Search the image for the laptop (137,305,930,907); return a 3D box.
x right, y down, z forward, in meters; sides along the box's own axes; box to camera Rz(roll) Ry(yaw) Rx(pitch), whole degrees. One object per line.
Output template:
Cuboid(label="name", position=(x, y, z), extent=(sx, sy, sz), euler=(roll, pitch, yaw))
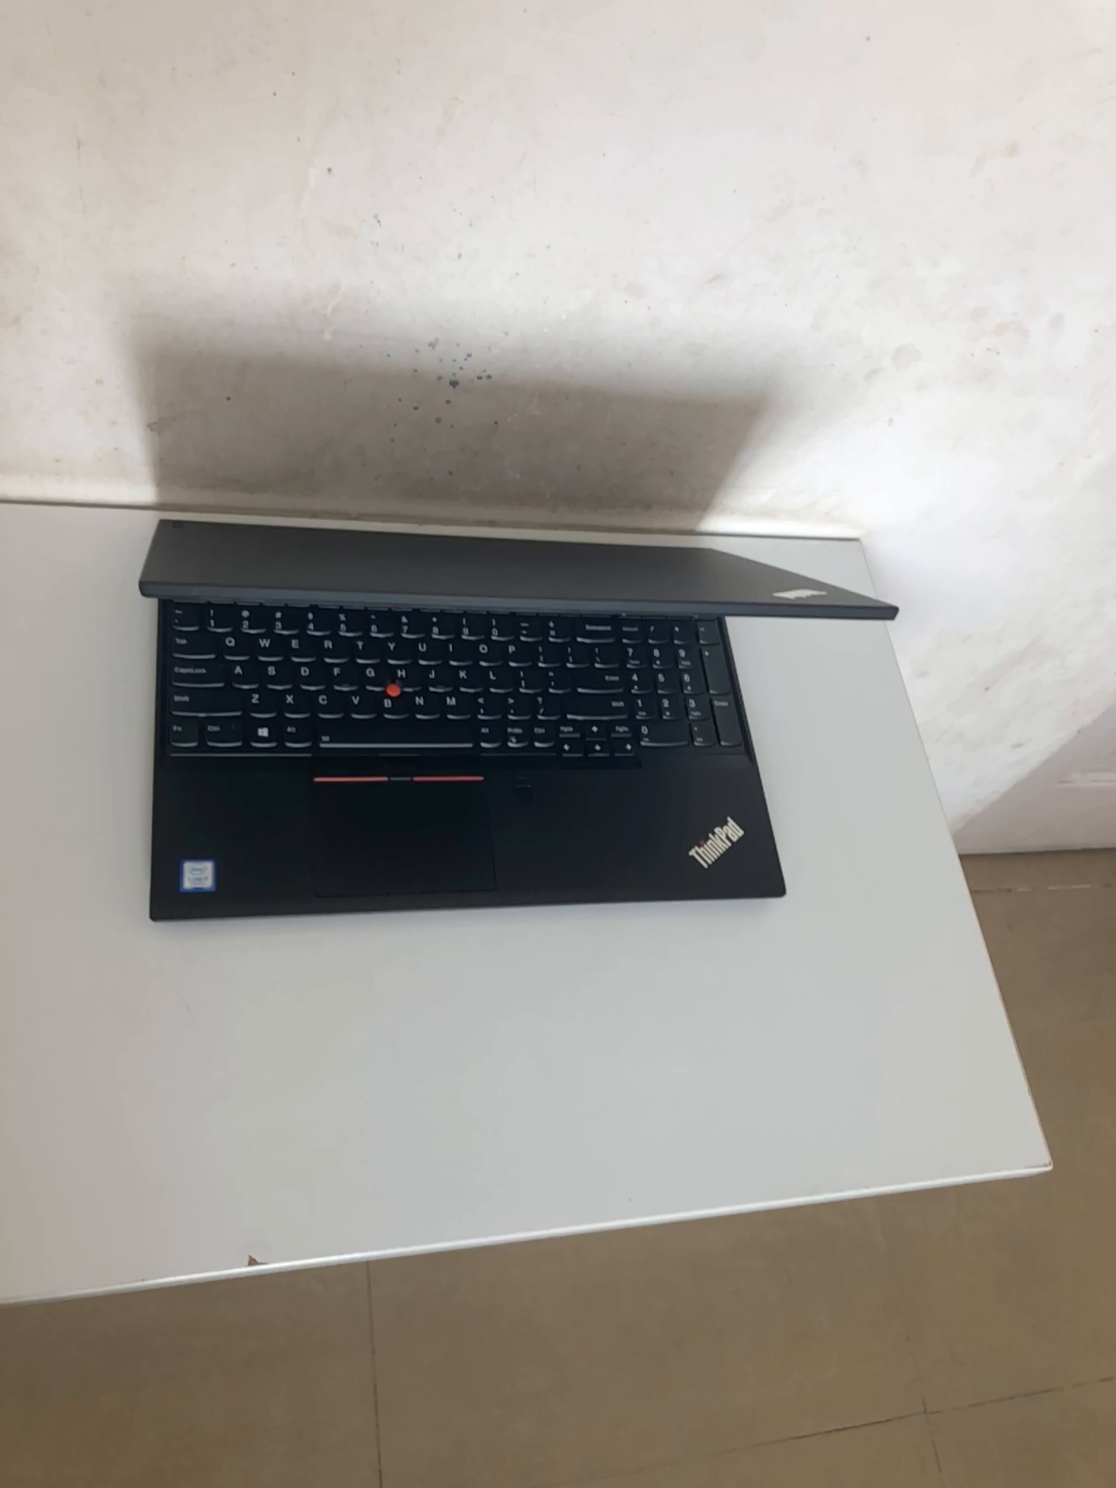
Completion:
Cuboid(label="laptop", position=(-0.032, -0.060, 0.647), extent=(0.347, 0.173, 0.234), euler=(1, 62, -15))
